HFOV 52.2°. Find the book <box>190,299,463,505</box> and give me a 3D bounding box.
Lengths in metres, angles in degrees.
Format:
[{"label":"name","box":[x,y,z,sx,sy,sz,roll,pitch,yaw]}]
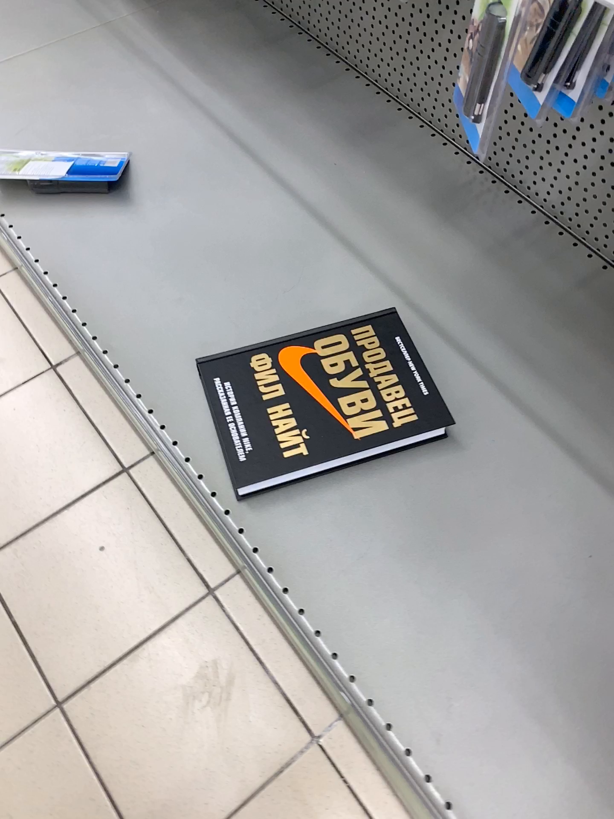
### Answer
[{"label":"book","box":[0.017,-0.015,0.687,0.250,0.042,0.170,-15,62,-10]}]
